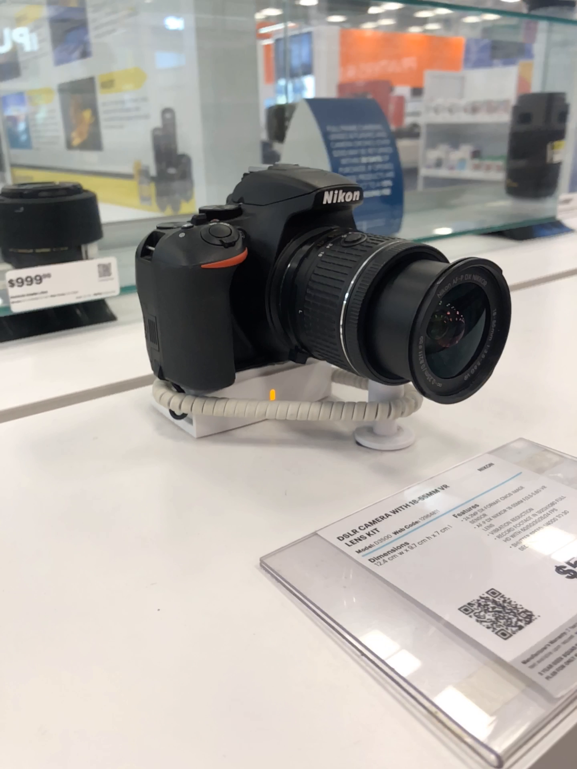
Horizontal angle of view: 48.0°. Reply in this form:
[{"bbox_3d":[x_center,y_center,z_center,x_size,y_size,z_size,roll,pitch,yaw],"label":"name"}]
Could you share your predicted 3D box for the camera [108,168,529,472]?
[{"bbox_3d":[0.005,-0.051,0.323,0.120,0.100,0.170,-16,24,-32],"label":"camera"}]
